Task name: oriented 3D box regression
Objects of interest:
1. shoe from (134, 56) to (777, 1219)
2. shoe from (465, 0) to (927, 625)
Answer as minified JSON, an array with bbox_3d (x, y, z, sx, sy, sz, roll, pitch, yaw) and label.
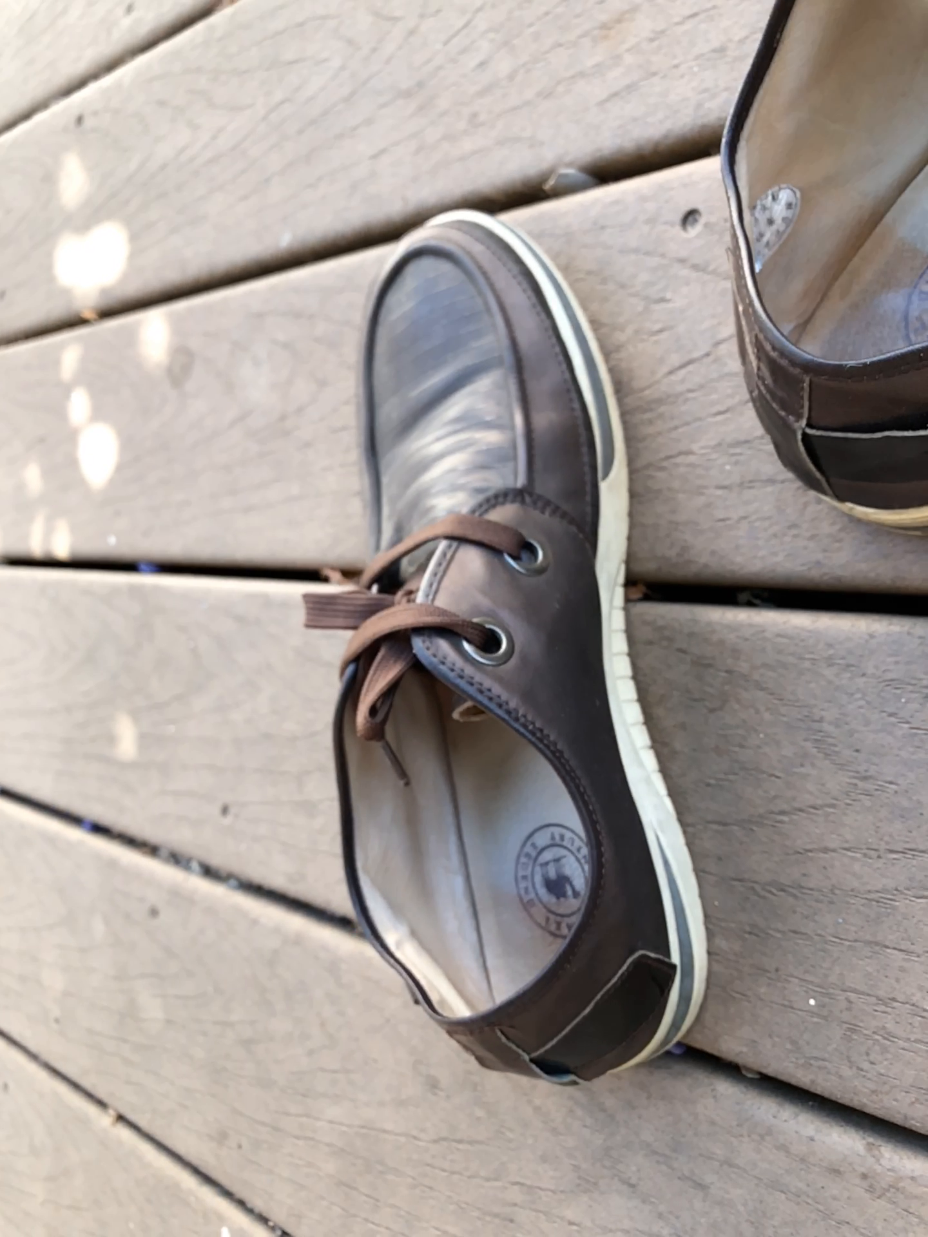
[{"bbox_3d":[-0.011,0.004,0.337,0.111,0.116,0.302,-21,73,39],"label":"shoe"},{"bbox_3d":[0.146,-0.153,0.207,0.110,0.116,0.304,50,118,32],"label":"shoe"}]
